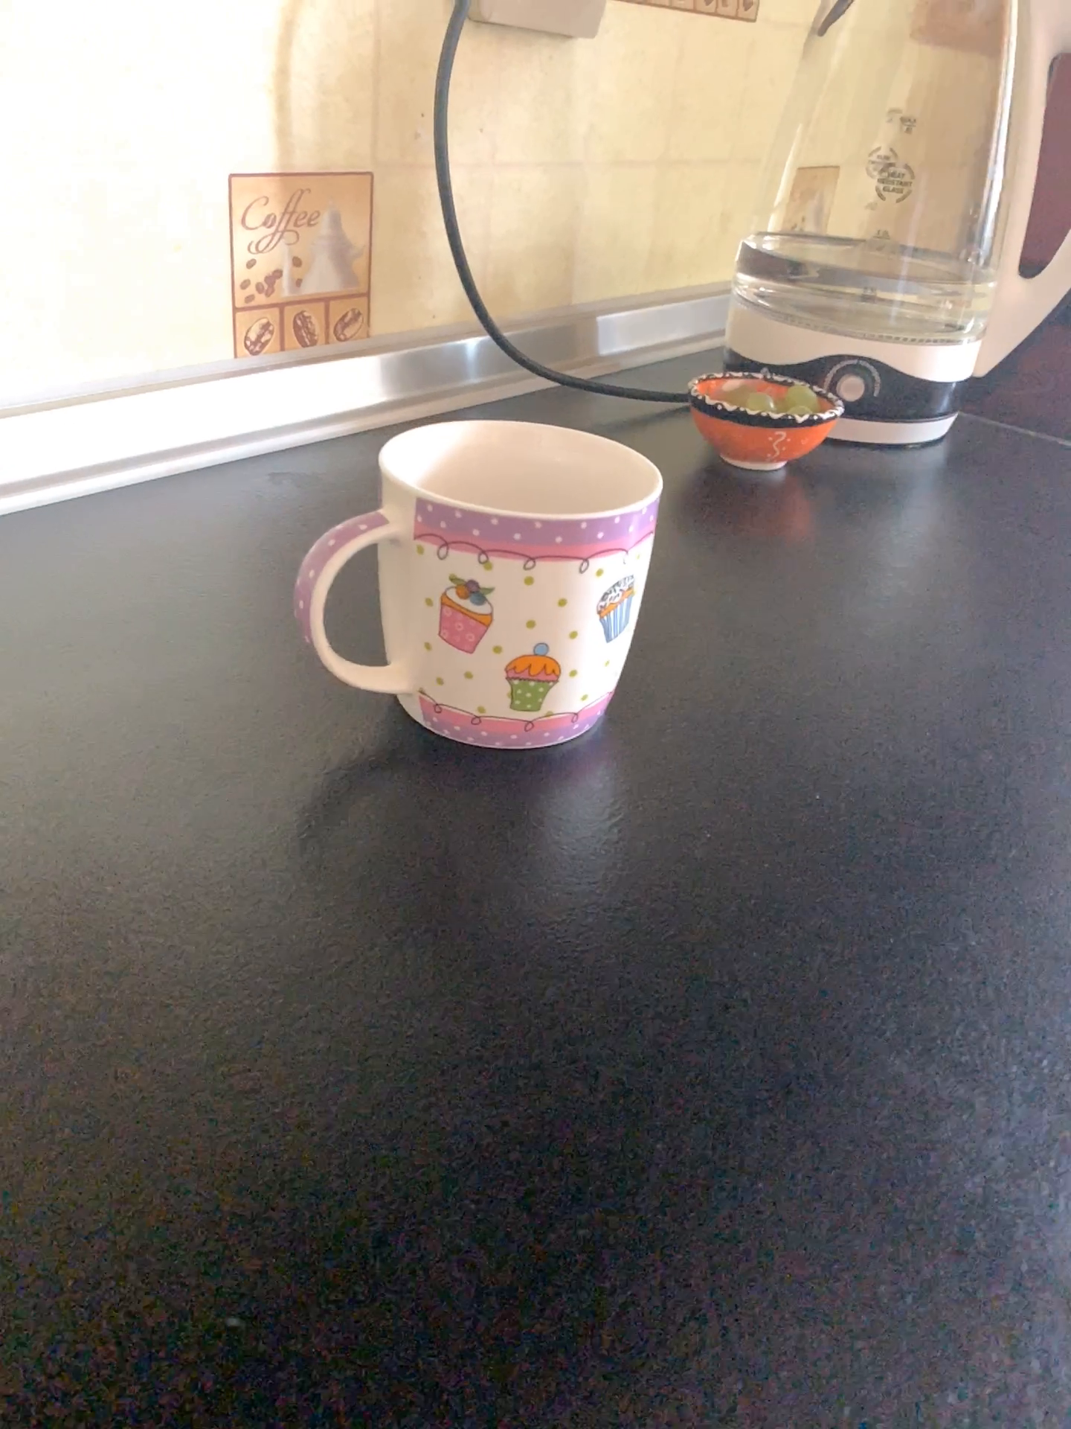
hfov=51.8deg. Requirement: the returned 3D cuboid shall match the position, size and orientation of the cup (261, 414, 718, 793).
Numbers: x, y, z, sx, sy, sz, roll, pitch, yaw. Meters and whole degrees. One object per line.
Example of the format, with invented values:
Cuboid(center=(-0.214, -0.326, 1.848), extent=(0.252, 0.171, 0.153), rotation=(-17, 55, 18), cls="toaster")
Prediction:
Cuboid(center=(-0.019, -0.040, 0.338), extent=(0.110, 0.080, 0.080), rotation=(-8, 33, -24), cls="cup")
